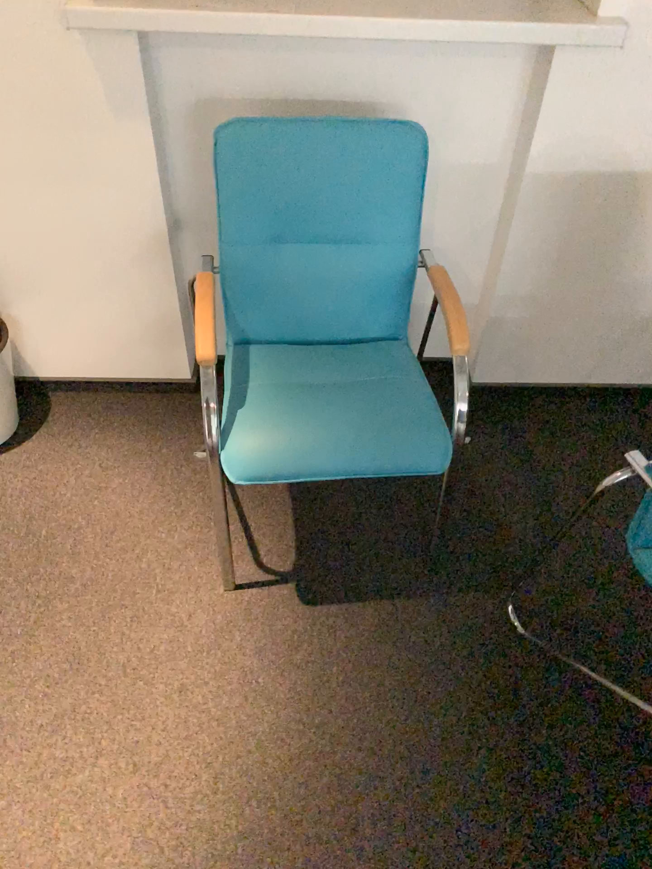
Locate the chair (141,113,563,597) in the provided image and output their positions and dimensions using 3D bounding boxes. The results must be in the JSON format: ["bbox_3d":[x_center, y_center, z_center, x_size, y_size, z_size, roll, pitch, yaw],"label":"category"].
[{"bbox_3d":[0.003,-0.160,1.507,0.630,0.856,0.633,-3,46,-5],"label":"chair"}]
